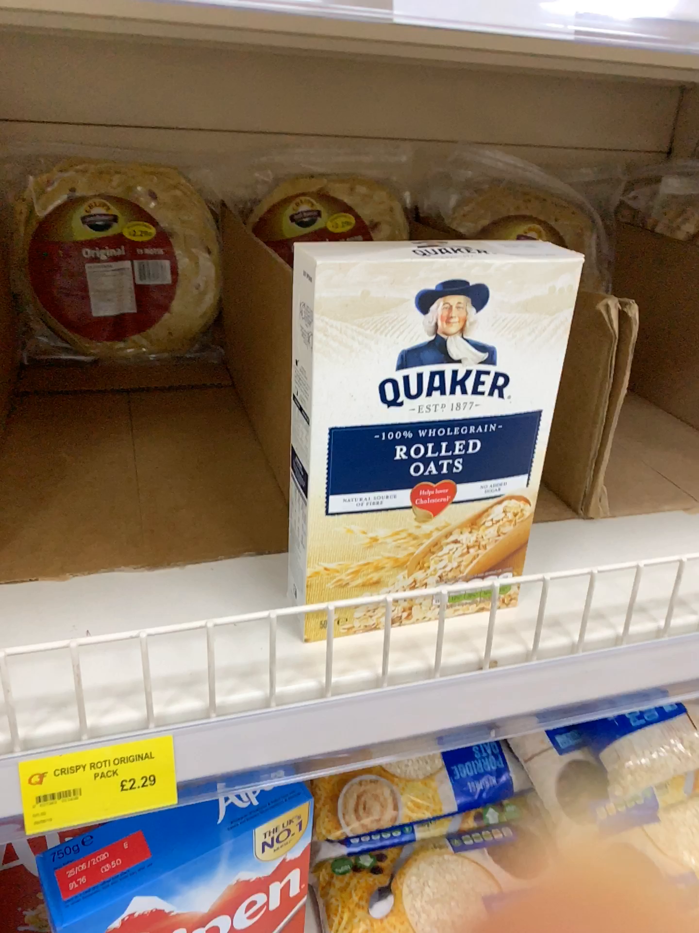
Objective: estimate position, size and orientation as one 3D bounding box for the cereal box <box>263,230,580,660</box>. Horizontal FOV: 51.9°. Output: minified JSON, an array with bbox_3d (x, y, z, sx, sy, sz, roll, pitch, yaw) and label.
[{"bbox_3d":[0.031,-0.010,0.406,0.150,0.228,0.050,-6,27,-18],"label":"cereal box"}]
